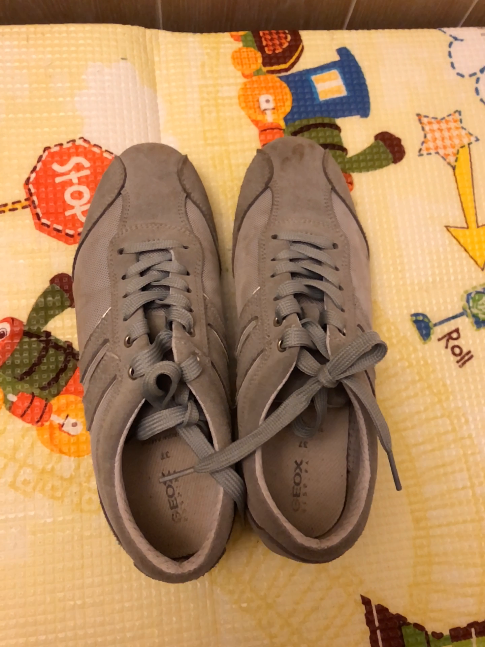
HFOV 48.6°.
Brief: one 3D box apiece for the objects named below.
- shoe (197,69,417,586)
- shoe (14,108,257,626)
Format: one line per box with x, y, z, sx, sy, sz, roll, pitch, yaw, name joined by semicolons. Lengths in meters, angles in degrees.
0.026;0.004;0.299;0.090;0.120;0.230;3;79;-5;shoe
-0.058;0.019;0.307;0.090;0.120;0.230;-6;80;-6;shoe
